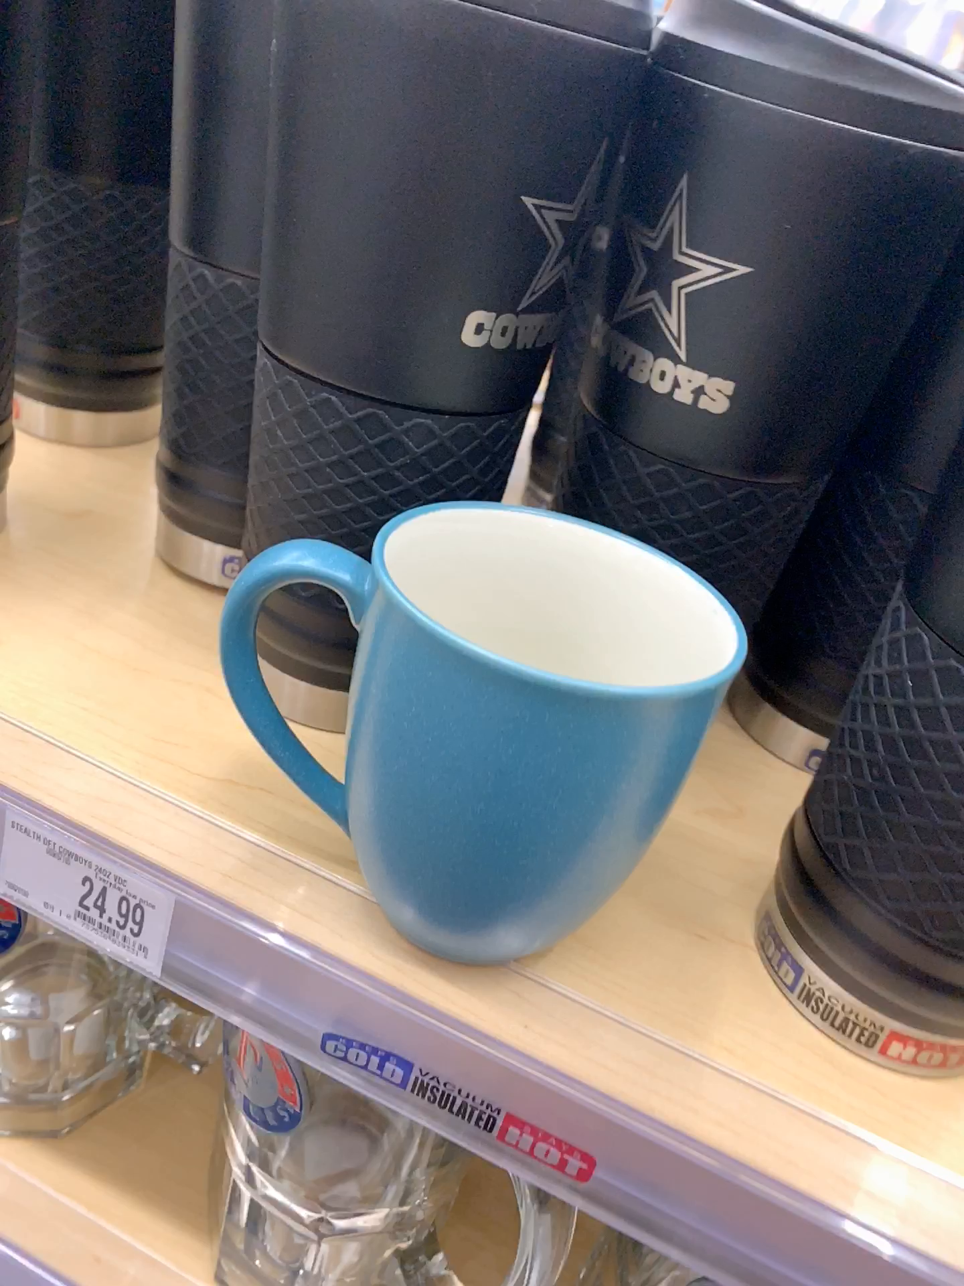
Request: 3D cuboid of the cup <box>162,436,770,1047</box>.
[{"bbox_3d":[-0.001,0.017,0.249,0.116,0.084,0.090,18,30,5],"label":"cup"}]
